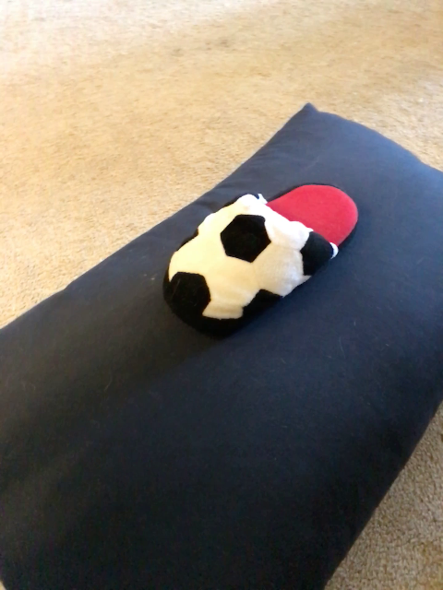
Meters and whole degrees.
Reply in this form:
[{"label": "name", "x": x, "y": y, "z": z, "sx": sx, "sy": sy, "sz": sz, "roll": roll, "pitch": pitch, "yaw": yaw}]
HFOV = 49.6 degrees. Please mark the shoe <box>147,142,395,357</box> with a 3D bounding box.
[{"label": "shoe", "x": 0.050, "y": -0.053, "z": 0.474, "sx": 0.213, "sy": 0.072, "sz": 0.108, "roll": -34, "pitch": 59, "yaw": -21}]
